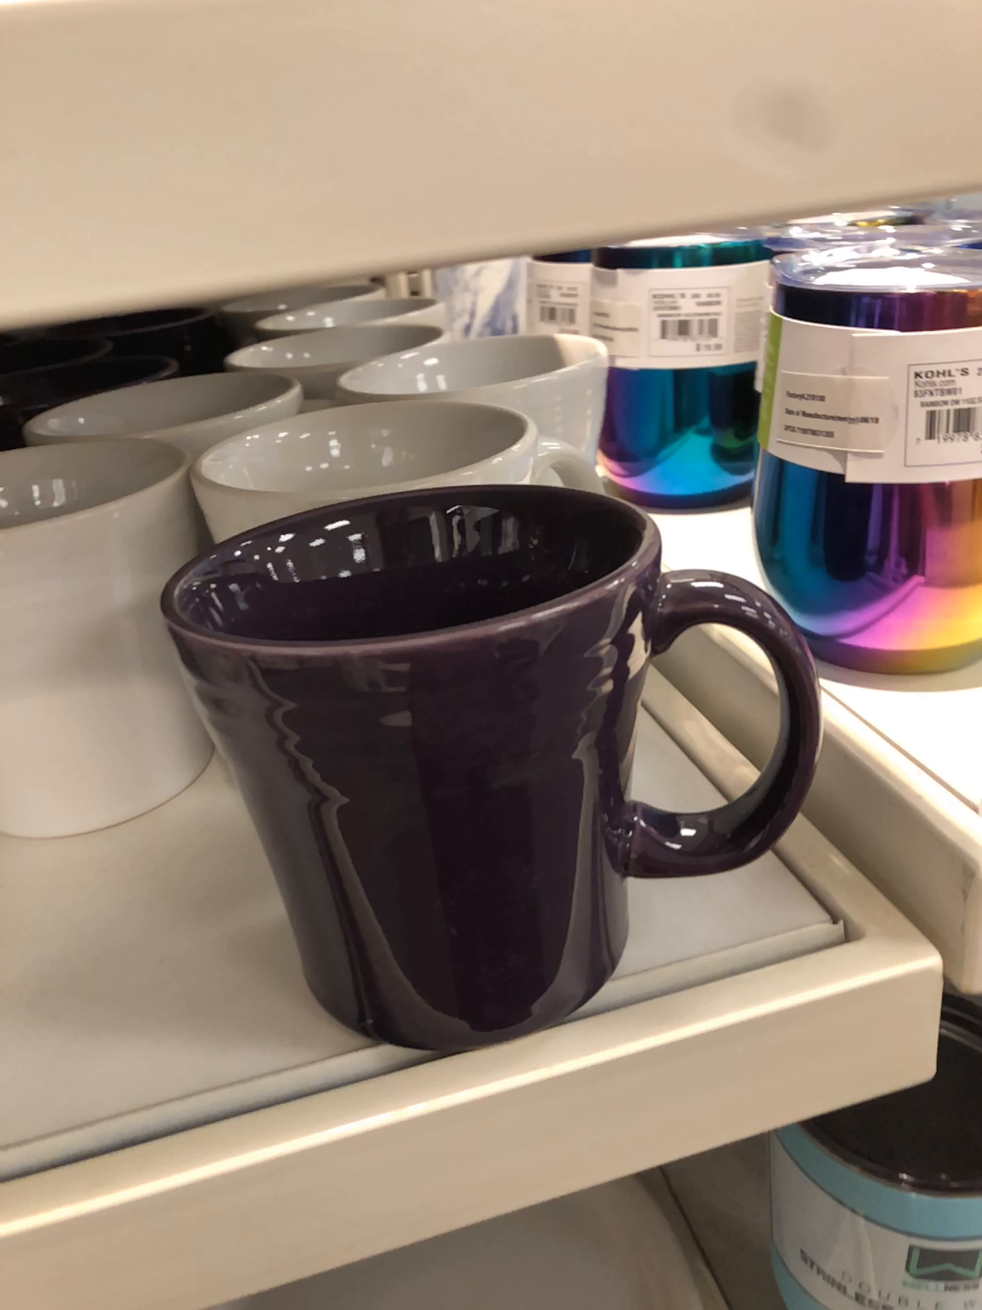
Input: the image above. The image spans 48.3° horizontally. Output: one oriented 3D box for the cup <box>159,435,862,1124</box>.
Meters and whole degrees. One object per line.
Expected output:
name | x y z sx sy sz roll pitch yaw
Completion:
cup | 0.000 0.019 0.250 0.127 0.099 0.090 -12 27 -12
